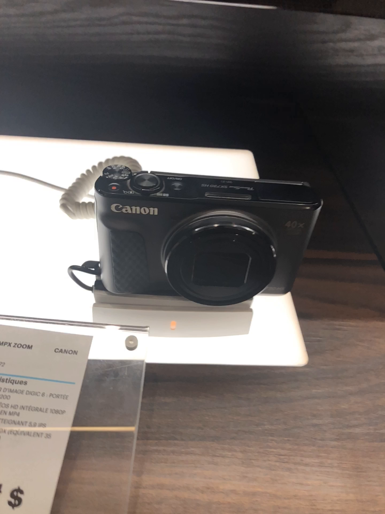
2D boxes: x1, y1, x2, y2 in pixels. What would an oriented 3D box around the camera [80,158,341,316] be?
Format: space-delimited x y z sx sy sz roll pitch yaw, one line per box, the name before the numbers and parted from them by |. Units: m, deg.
camera | 0.006 -0.008 0.223 0.114 0.069 0.035 3 41 -4
